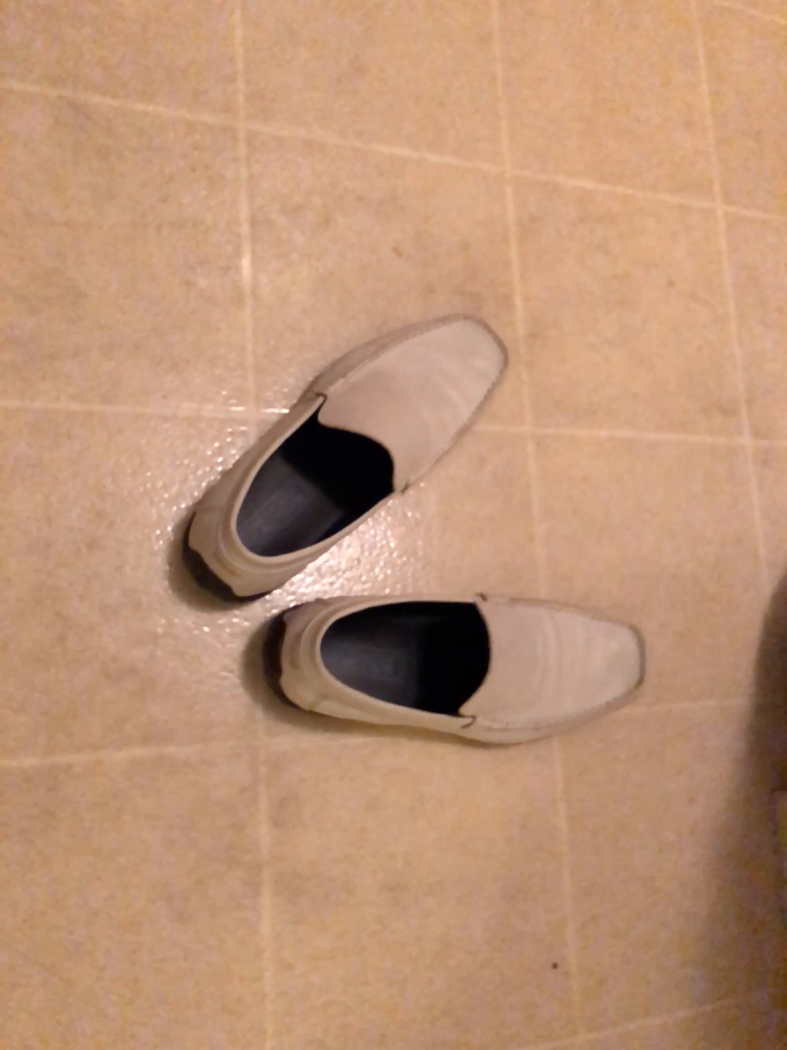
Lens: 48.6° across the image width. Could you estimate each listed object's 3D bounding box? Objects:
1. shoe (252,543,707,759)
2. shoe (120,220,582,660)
[{"bbox_3d":[0.062,0.092,0.593,0.290,0.097,0.111,8,77,-20],"label":"shoe"},{"bbox_3d":[-0.024,-0.059,0.588,0.110,0.097,0.307,48,68,-7],"label":"shoe"}]
